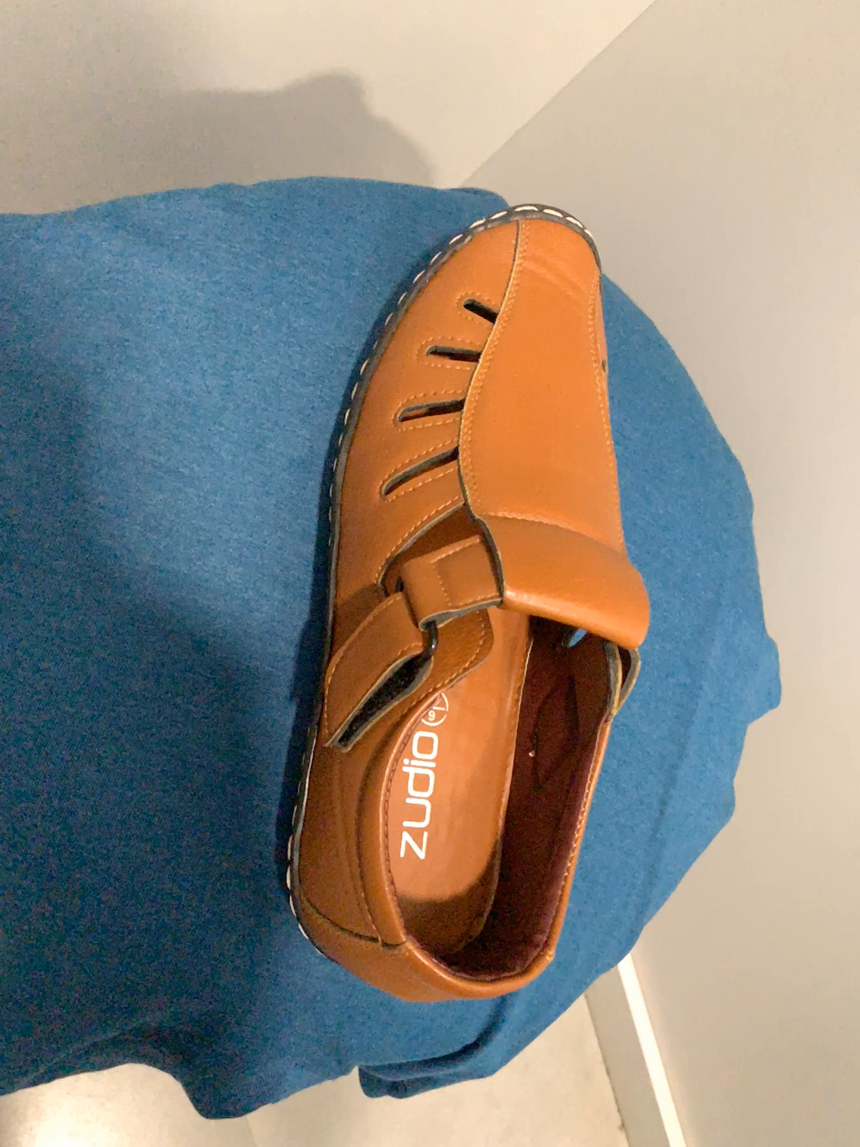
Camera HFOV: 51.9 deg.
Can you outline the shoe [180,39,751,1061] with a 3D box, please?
[{"bbox_3d":[0.012,-0.005,0.292,0.100,0.100,0.270,17,78,-25],"label":"shoe"}]
